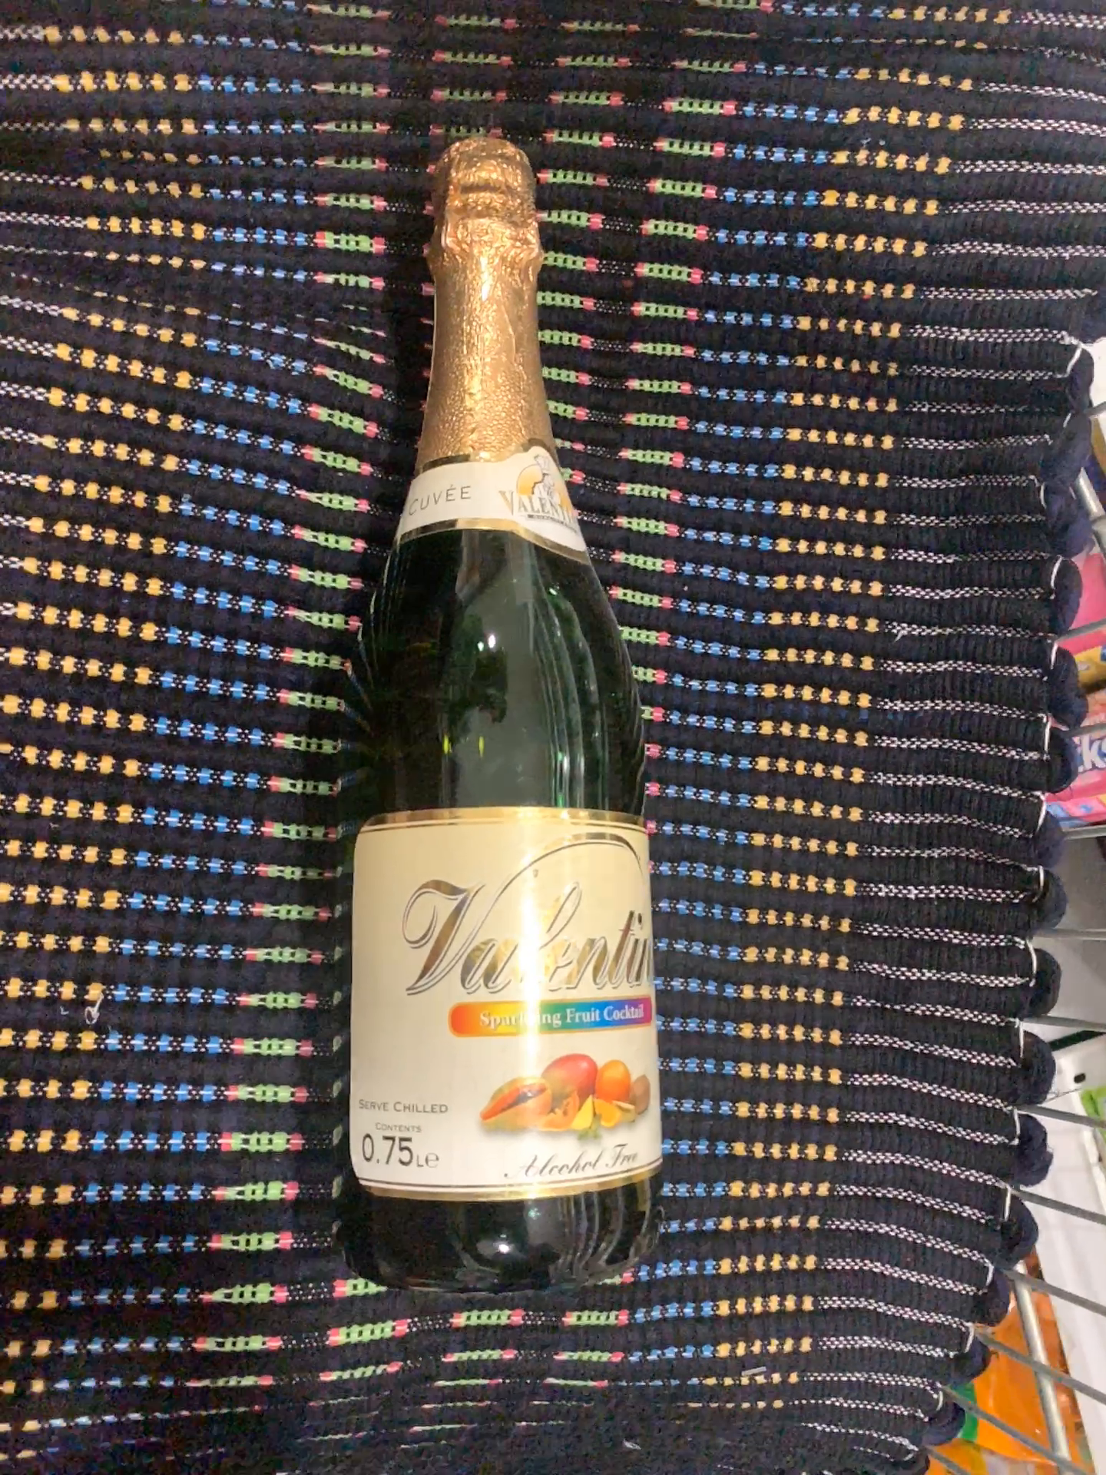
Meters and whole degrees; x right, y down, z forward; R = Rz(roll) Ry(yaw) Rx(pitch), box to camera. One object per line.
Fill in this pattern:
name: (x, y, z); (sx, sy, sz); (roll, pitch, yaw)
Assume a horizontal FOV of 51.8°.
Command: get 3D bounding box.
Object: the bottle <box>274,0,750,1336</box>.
bottle: (-0.019, -0.042, 0.315); (0.090, 0.080, 0.350); (5, 75, -27)
